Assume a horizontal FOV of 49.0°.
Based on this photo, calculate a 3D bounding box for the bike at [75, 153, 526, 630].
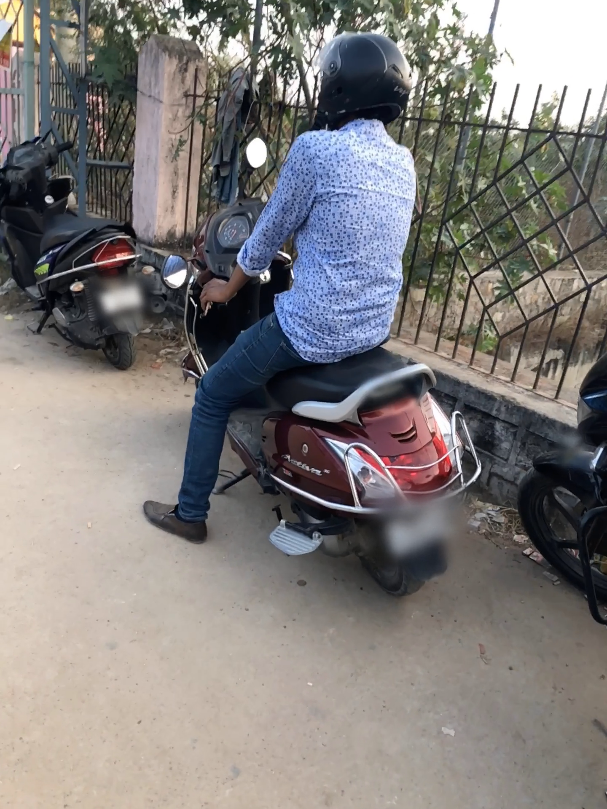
[{"bbox_3d":[-0.198,-0.188,2.215,0.577,0.963,1.492,-8,28,-36],"label":"bike"}]
